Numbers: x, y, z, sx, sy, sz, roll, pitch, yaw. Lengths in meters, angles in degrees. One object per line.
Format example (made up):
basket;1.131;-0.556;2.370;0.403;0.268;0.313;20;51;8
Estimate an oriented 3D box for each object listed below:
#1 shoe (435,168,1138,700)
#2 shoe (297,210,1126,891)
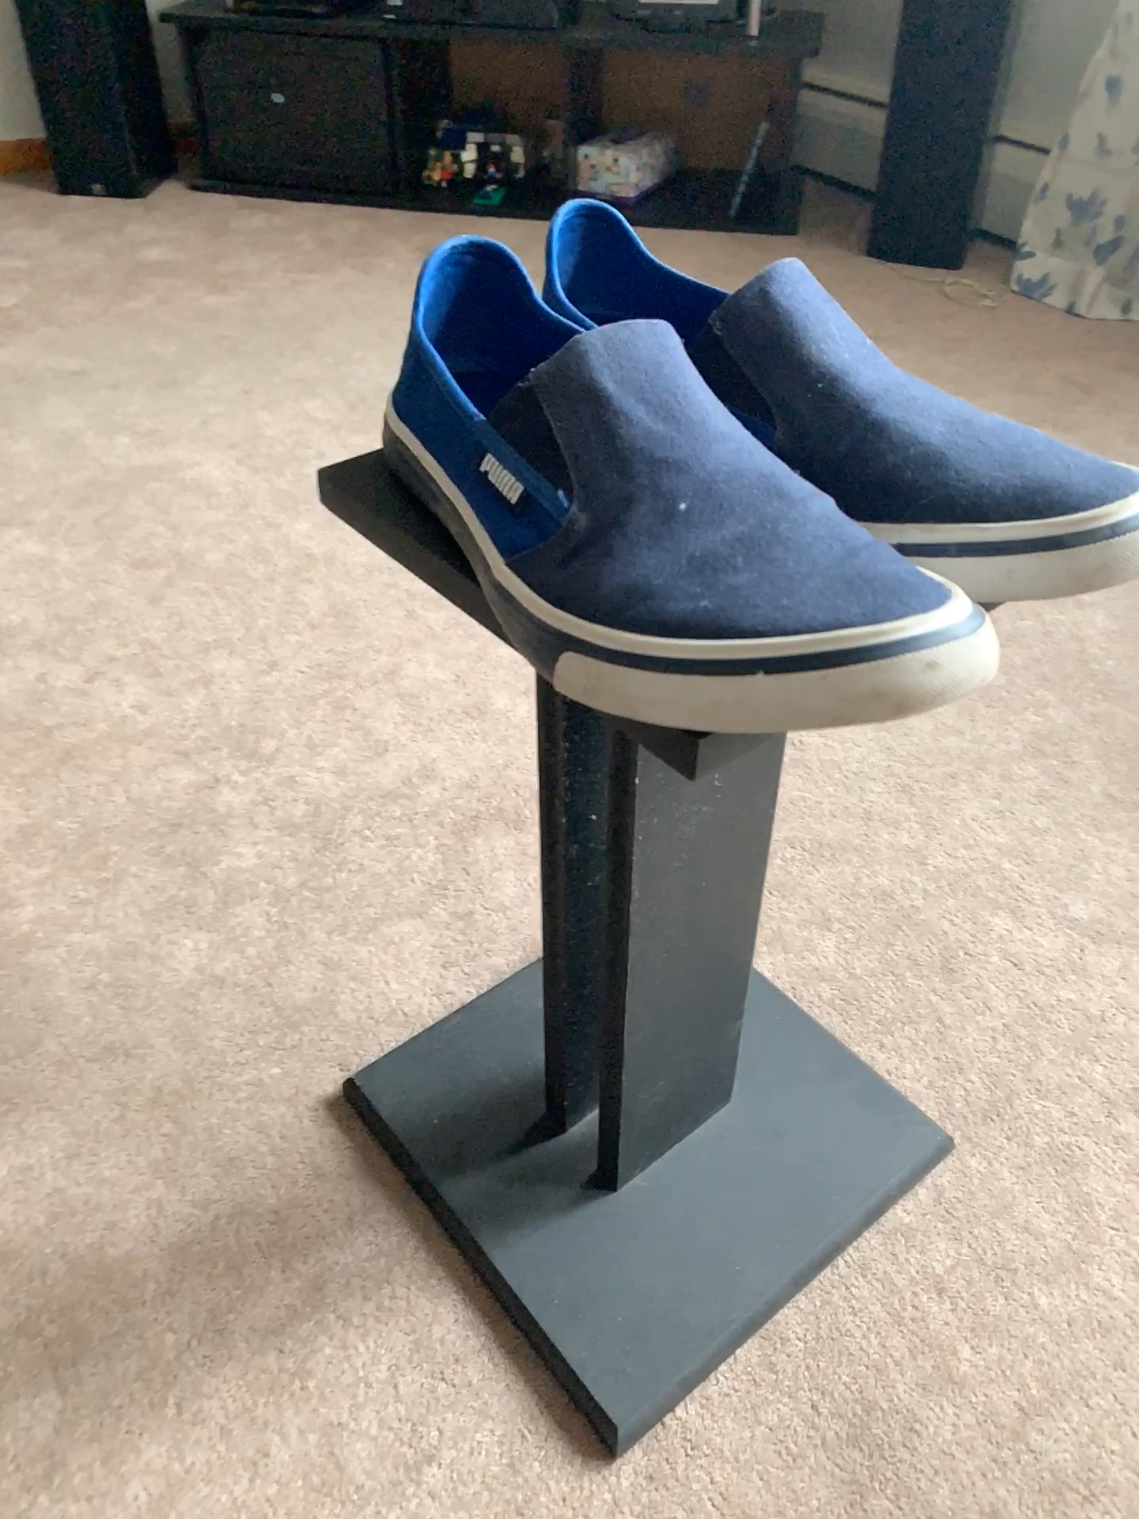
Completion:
shoe;0.091;-0.146;0.449;0.121;0.079;0.301;-30;49;-32
shoe;0.016;-0.100;0.398;0.120;0.079;0.302;-18;43;-21
